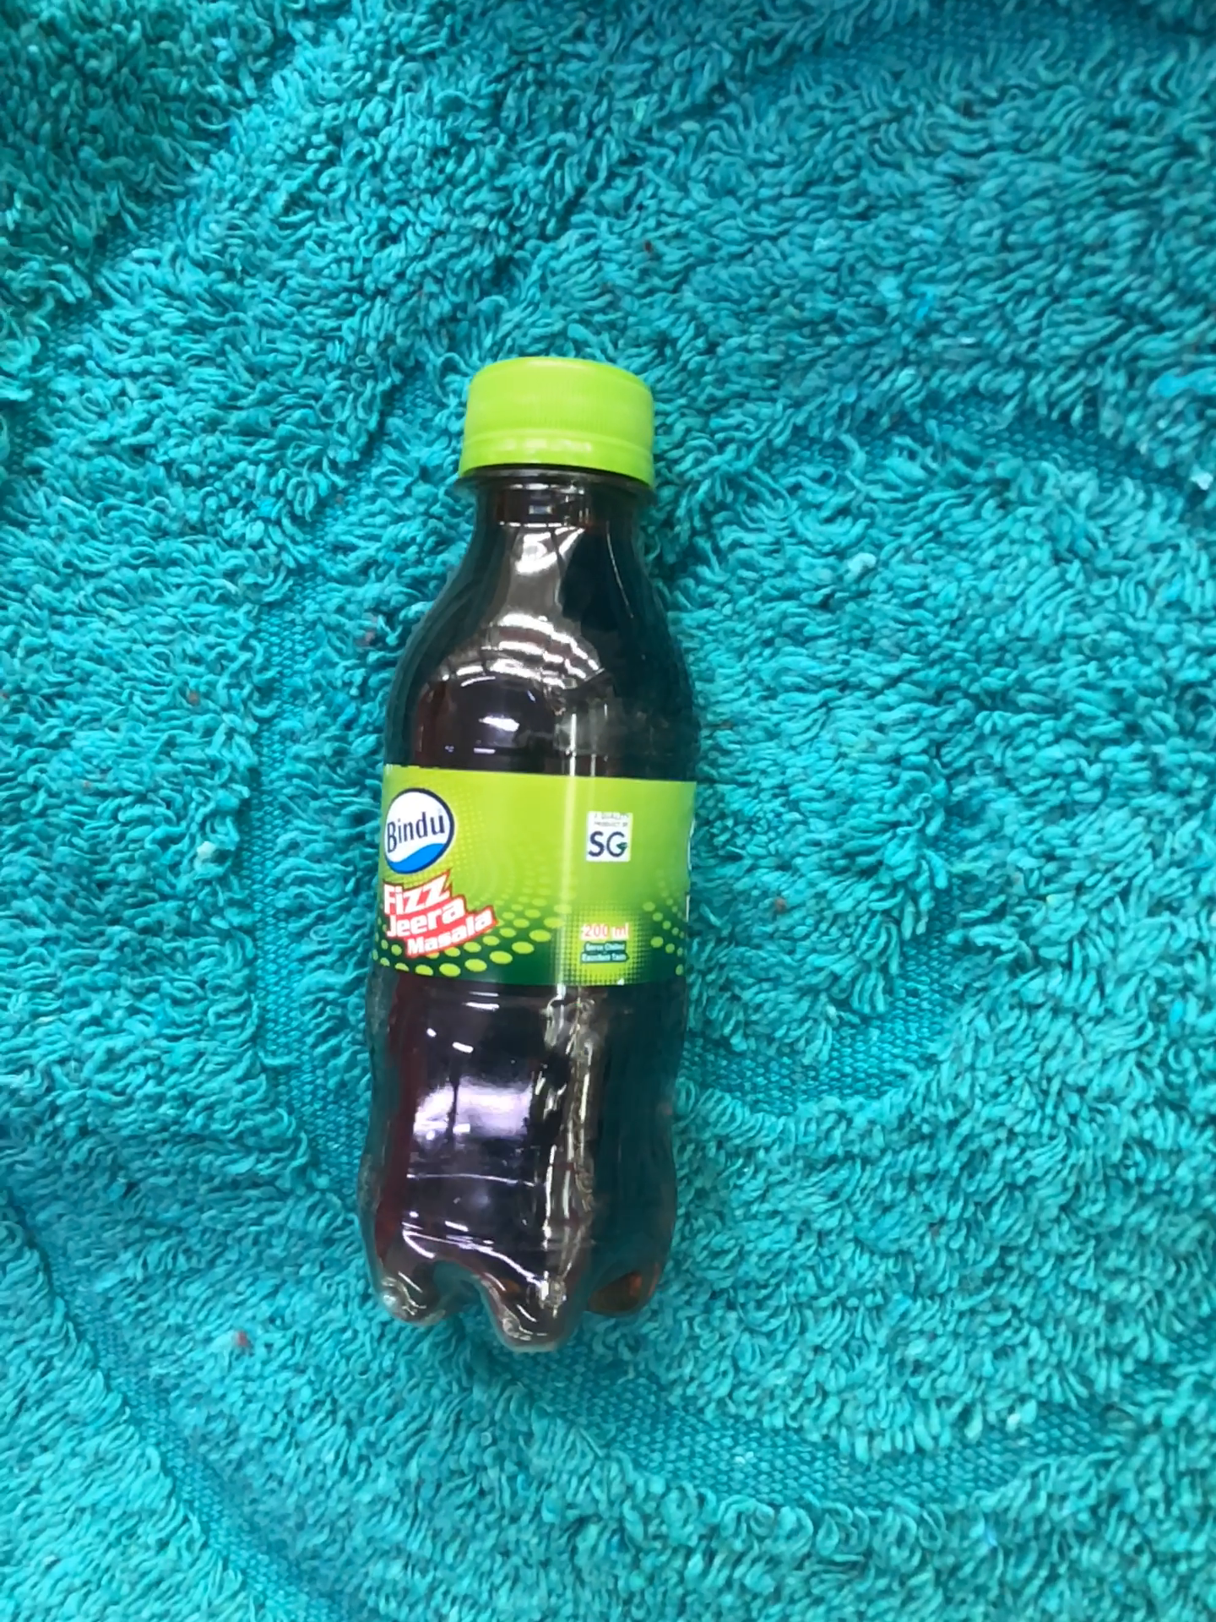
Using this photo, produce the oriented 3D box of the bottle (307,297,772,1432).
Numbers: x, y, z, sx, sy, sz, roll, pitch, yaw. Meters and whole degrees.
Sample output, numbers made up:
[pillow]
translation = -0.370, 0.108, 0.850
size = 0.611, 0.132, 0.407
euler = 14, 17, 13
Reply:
[bottle]
translation = -0.010, 0.006, 0.211
size = 0.050, 0.050, 0.150
euler = 5, 96, 29
